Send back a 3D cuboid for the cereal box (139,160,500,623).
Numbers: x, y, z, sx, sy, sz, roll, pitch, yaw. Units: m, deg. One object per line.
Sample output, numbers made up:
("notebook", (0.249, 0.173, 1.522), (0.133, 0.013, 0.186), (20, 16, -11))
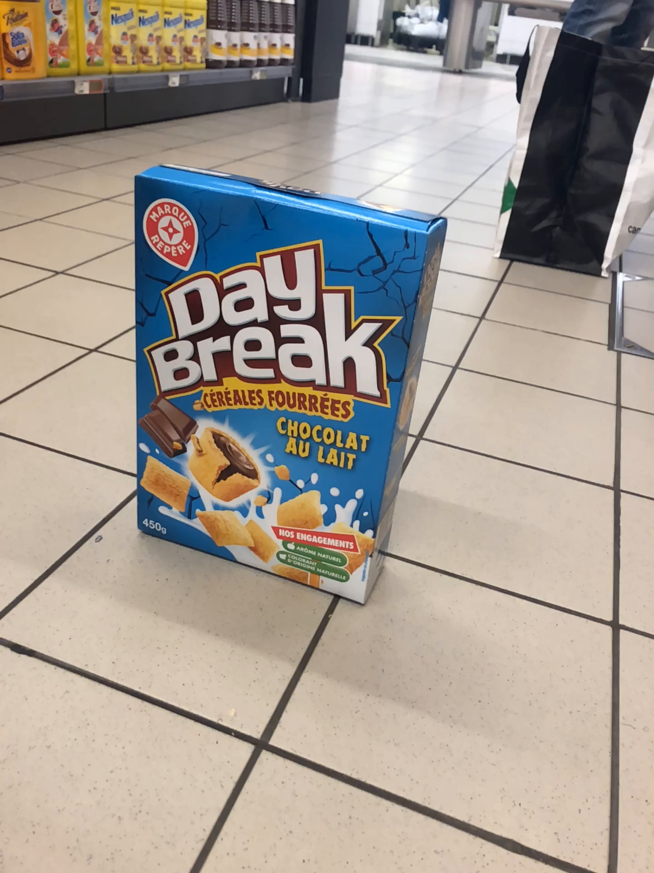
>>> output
("cereal box", (-0.017, -0.029, 0.478), (0.200, 0.258, 0.070), (15, 28, 16))
